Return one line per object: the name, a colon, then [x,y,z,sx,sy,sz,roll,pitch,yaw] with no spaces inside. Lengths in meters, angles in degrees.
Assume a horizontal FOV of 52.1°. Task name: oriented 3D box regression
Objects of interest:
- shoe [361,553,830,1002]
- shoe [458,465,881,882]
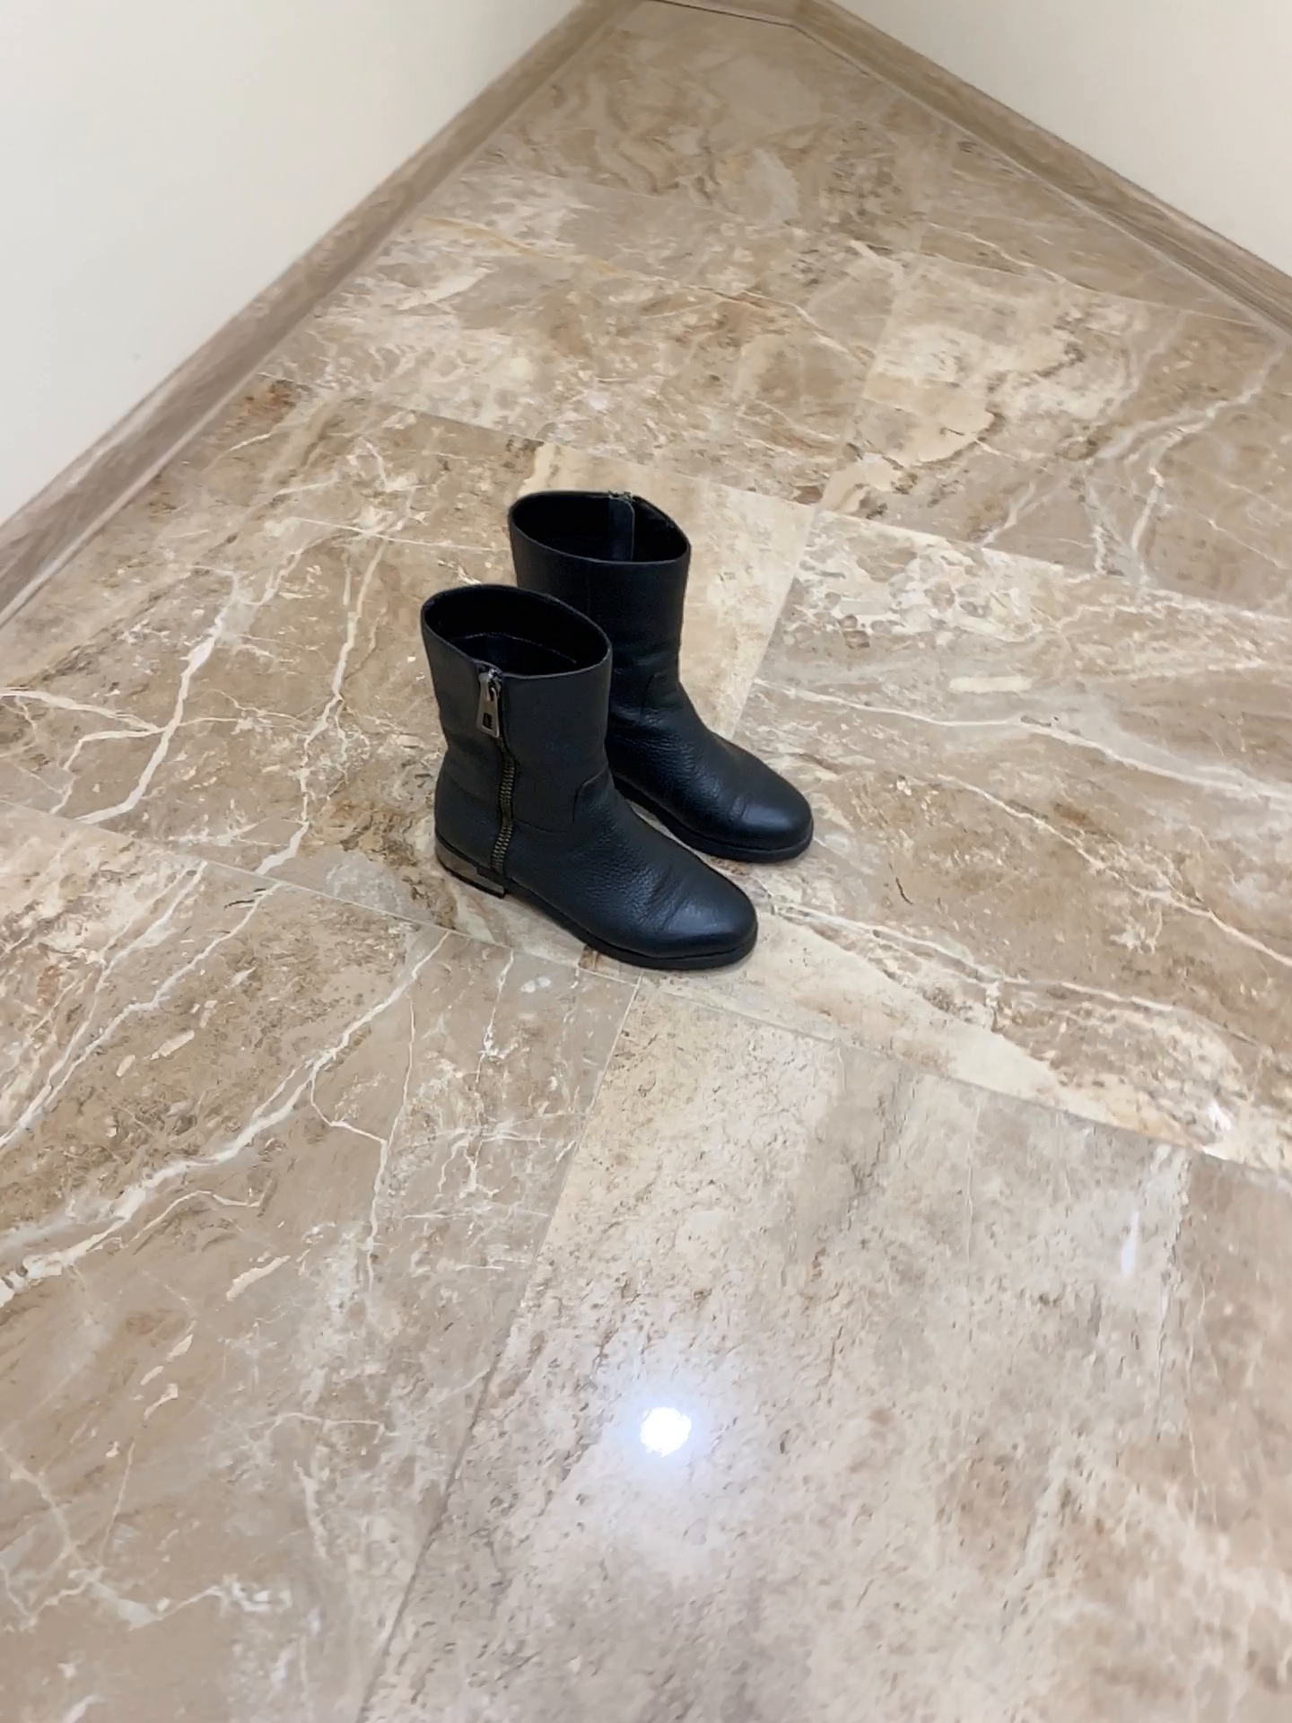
shoe: [-0.038,-0.050,0.849,0.260,0.209,0.090,20,49,11]
shoe: [0.007,-0.129,0.931,0.260,0.209,0.090,20,49,11]
